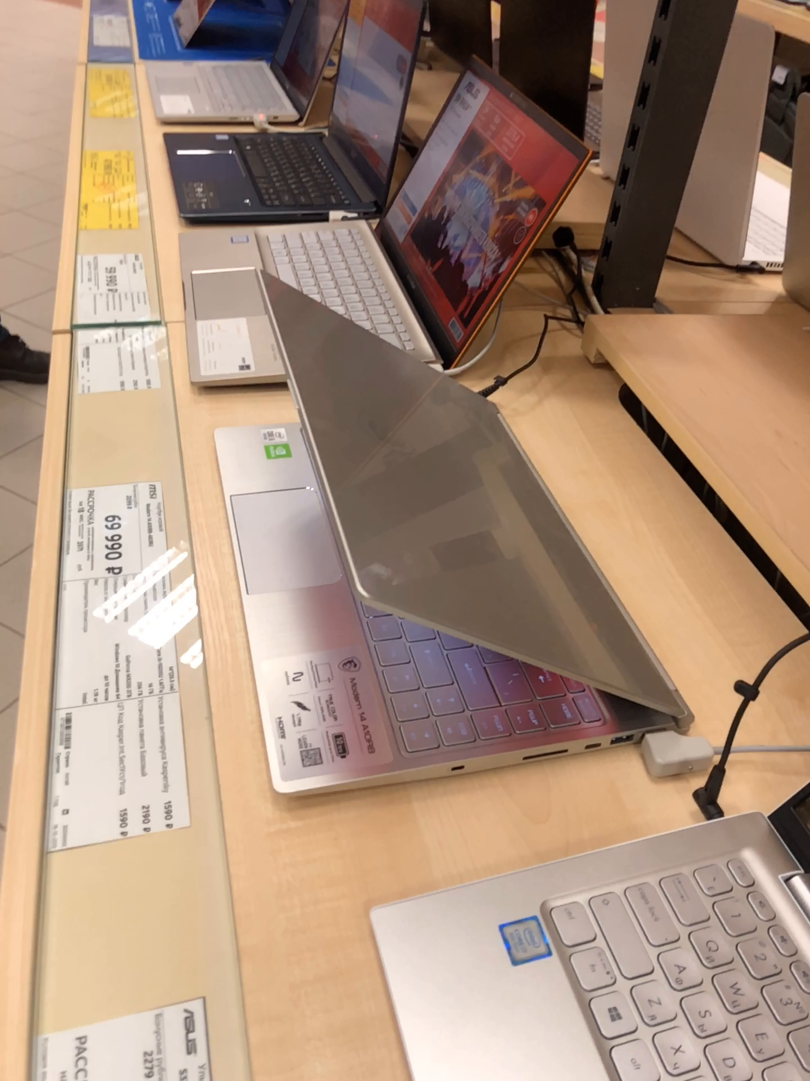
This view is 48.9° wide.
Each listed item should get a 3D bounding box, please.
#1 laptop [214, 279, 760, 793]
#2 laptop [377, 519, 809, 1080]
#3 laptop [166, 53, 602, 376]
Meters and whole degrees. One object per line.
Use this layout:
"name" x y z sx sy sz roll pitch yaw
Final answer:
"laptop" 0.010 -0.035 0.531 0.216 0.113 0.322 -6 39 -14
"laptop" 0.184 0.175 0.246 0.300 0.154 0.327 -9 39 -14
"laptop" -0.046 -0.313 0.809 0.314 0.169 0.311 -6 40 -13
